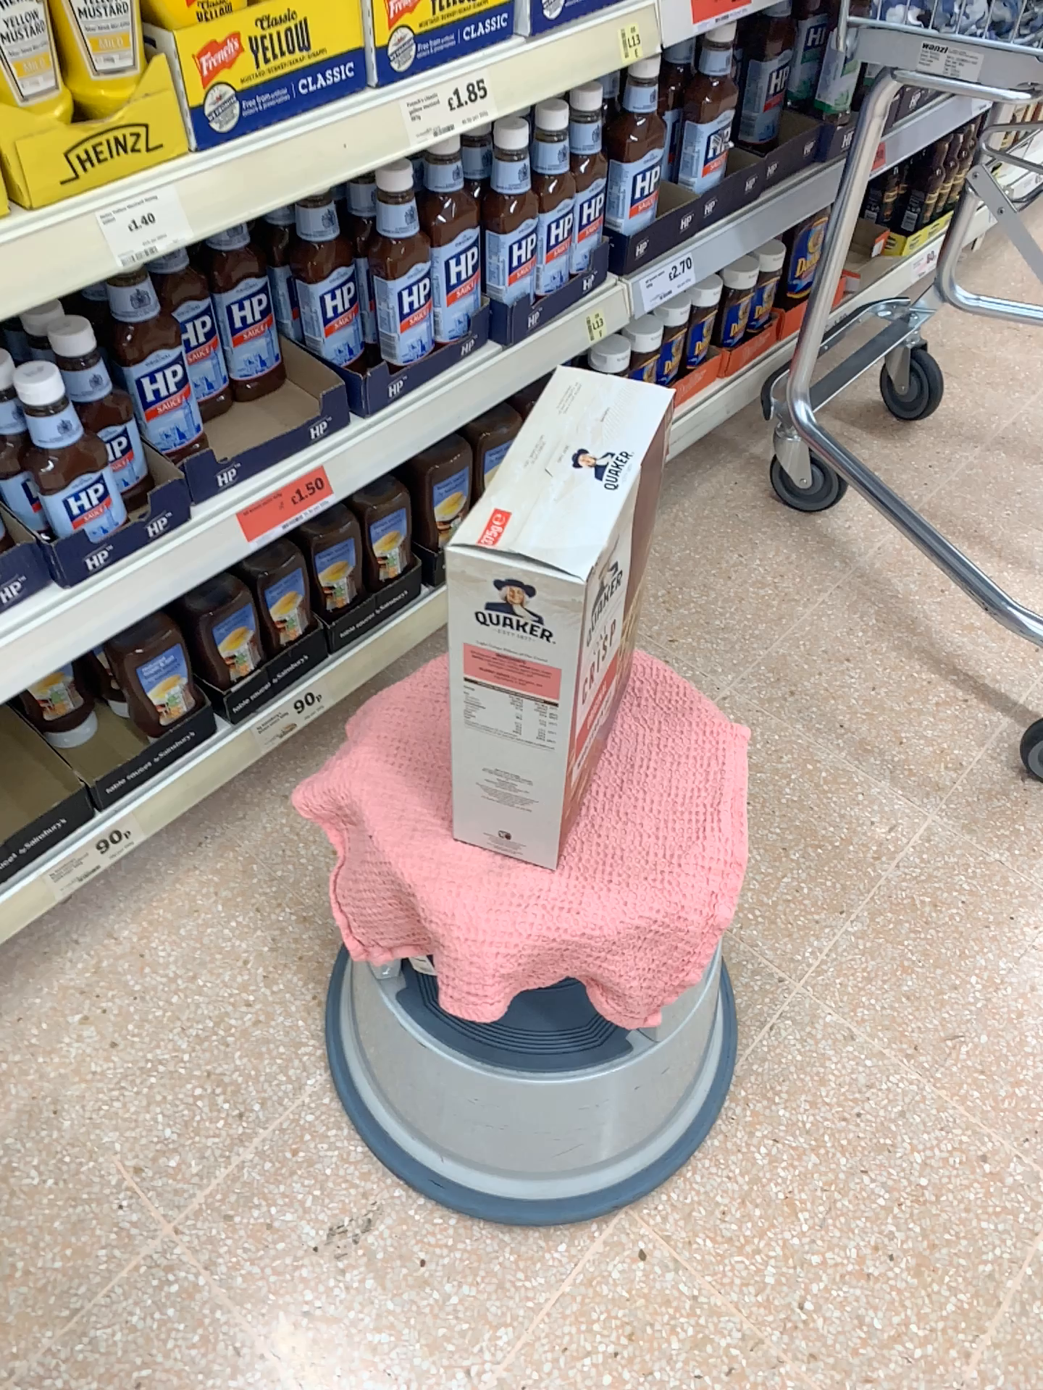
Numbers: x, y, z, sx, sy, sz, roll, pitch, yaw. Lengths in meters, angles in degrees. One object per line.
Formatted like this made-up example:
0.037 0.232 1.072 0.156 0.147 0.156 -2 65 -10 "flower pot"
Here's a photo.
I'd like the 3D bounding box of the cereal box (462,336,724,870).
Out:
0.040 -0.050 0.674 0.090 0.268 0.192 16 50 10 "cereal box"
